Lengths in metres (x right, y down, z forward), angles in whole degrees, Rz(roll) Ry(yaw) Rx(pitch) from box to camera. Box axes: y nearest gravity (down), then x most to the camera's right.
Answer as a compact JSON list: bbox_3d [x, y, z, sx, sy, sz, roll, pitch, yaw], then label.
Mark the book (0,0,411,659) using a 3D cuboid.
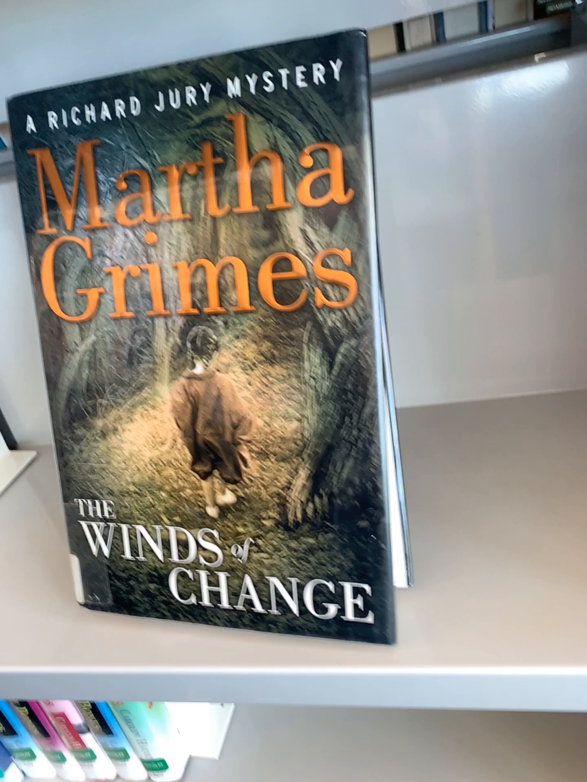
[{"bbox_3d":[-0.038,-0.015,0.274,0.160,0.244,0.050,-2,10,20],"label":"book"}]
